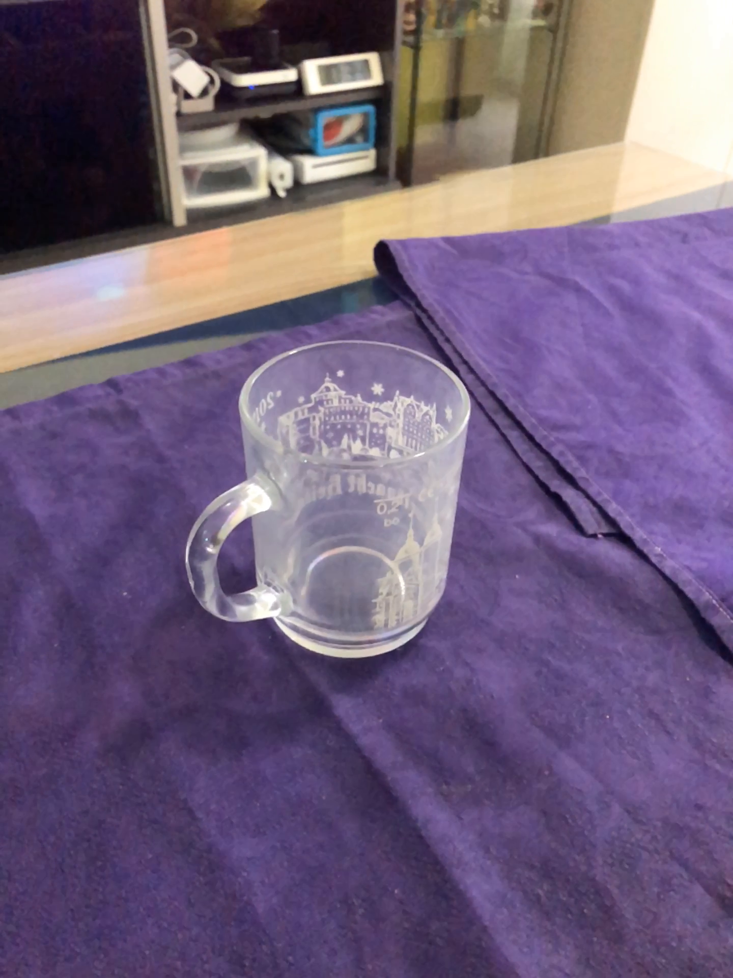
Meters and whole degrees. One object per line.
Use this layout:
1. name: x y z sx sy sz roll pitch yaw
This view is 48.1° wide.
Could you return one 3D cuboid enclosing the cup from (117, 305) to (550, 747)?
1. cup: -0.008 0.005 0.255 0.100 0.080 0.070 -27 45 -31
